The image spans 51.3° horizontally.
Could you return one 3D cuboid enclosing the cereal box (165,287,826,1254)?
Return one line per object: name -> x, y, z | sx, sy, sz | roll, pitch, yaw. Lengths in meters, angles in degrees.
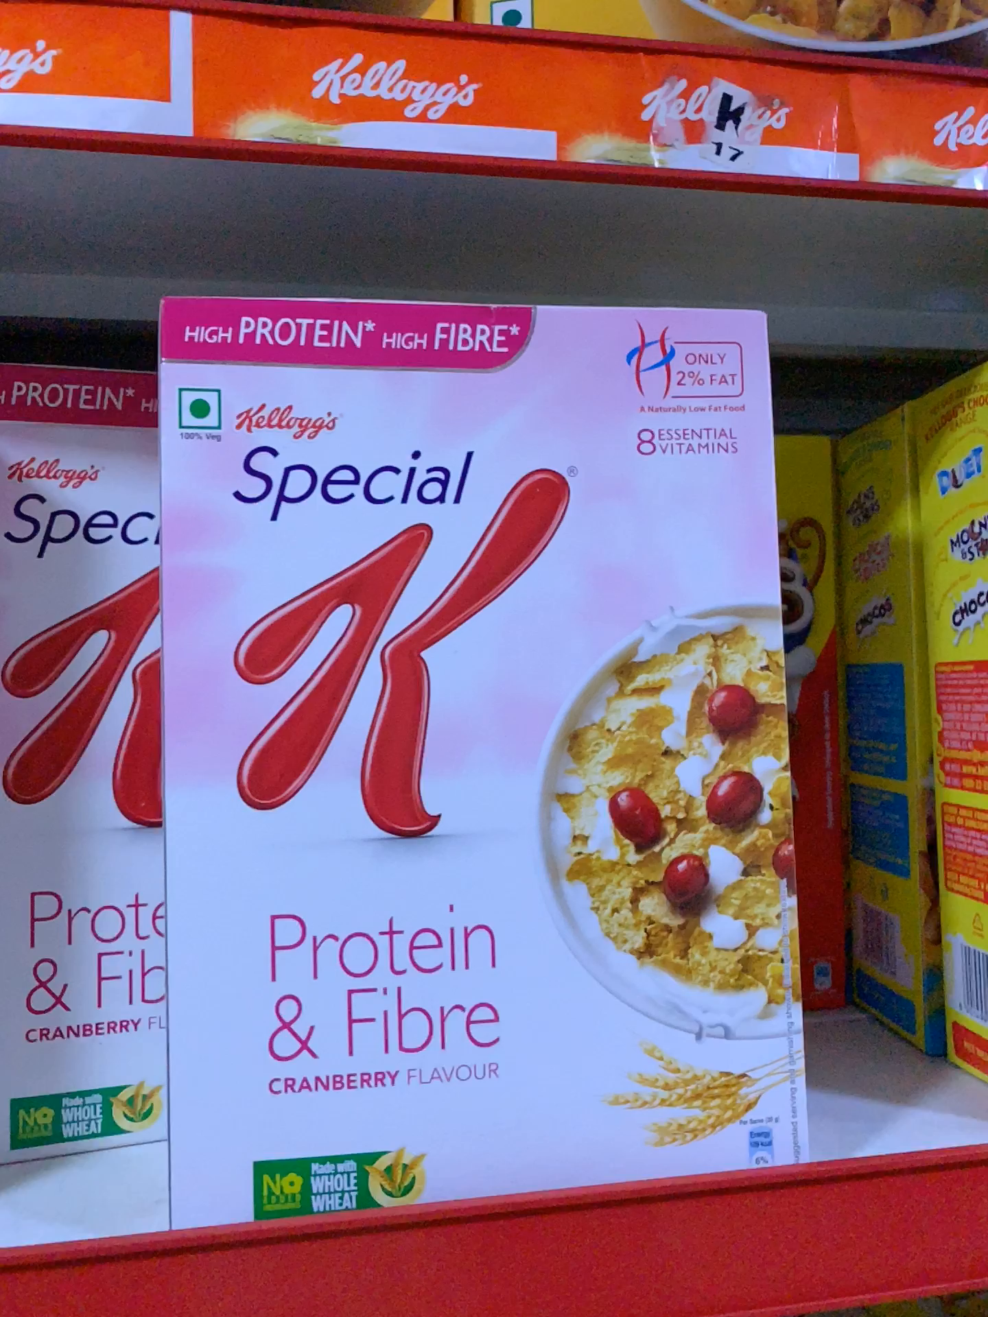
cereal box -> -0.002, 0.025, 0.299 | 0.170, 0.240, 0.060 | -1, -3, -9
